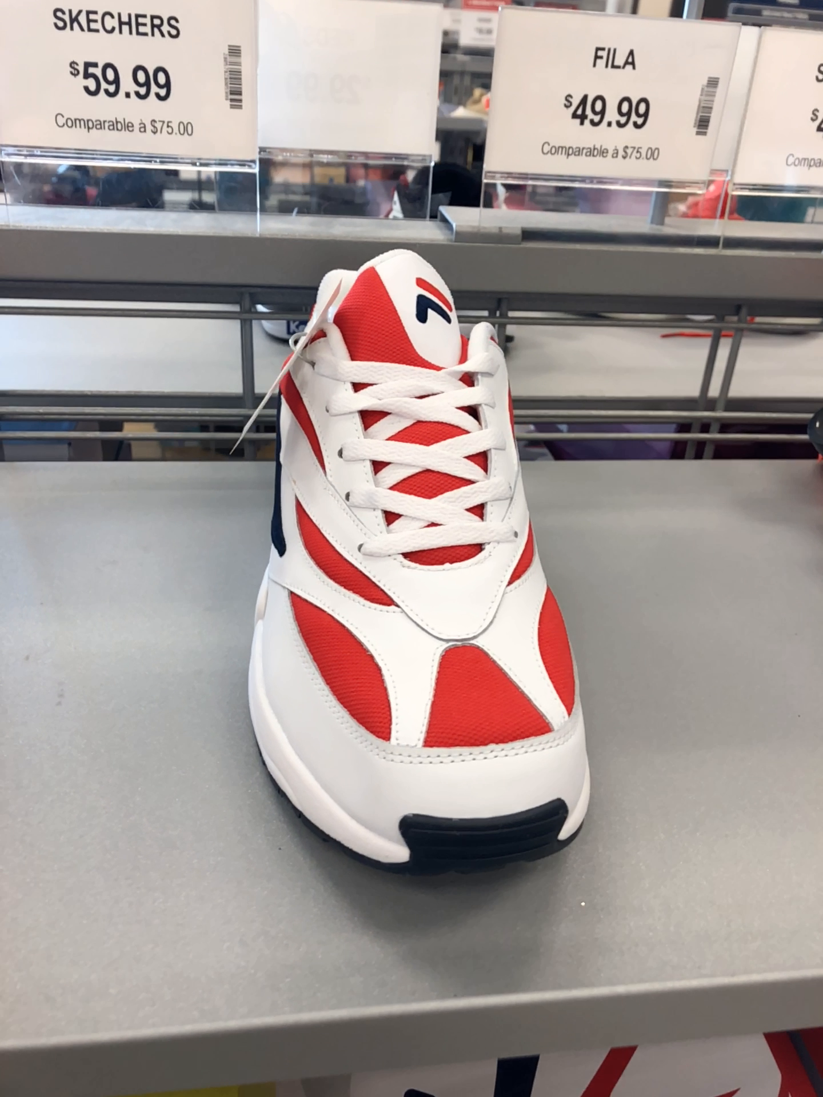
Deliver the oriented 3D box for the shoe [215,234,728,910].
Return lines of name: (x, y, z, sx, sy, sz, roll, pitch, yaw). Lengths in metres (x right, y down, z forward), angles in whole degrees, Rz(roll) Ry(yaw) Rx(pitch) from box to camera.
shoe: (-0.007, -0.022, 0.356, 0.120, 0.129, 0.272, -1, 32, -9)
